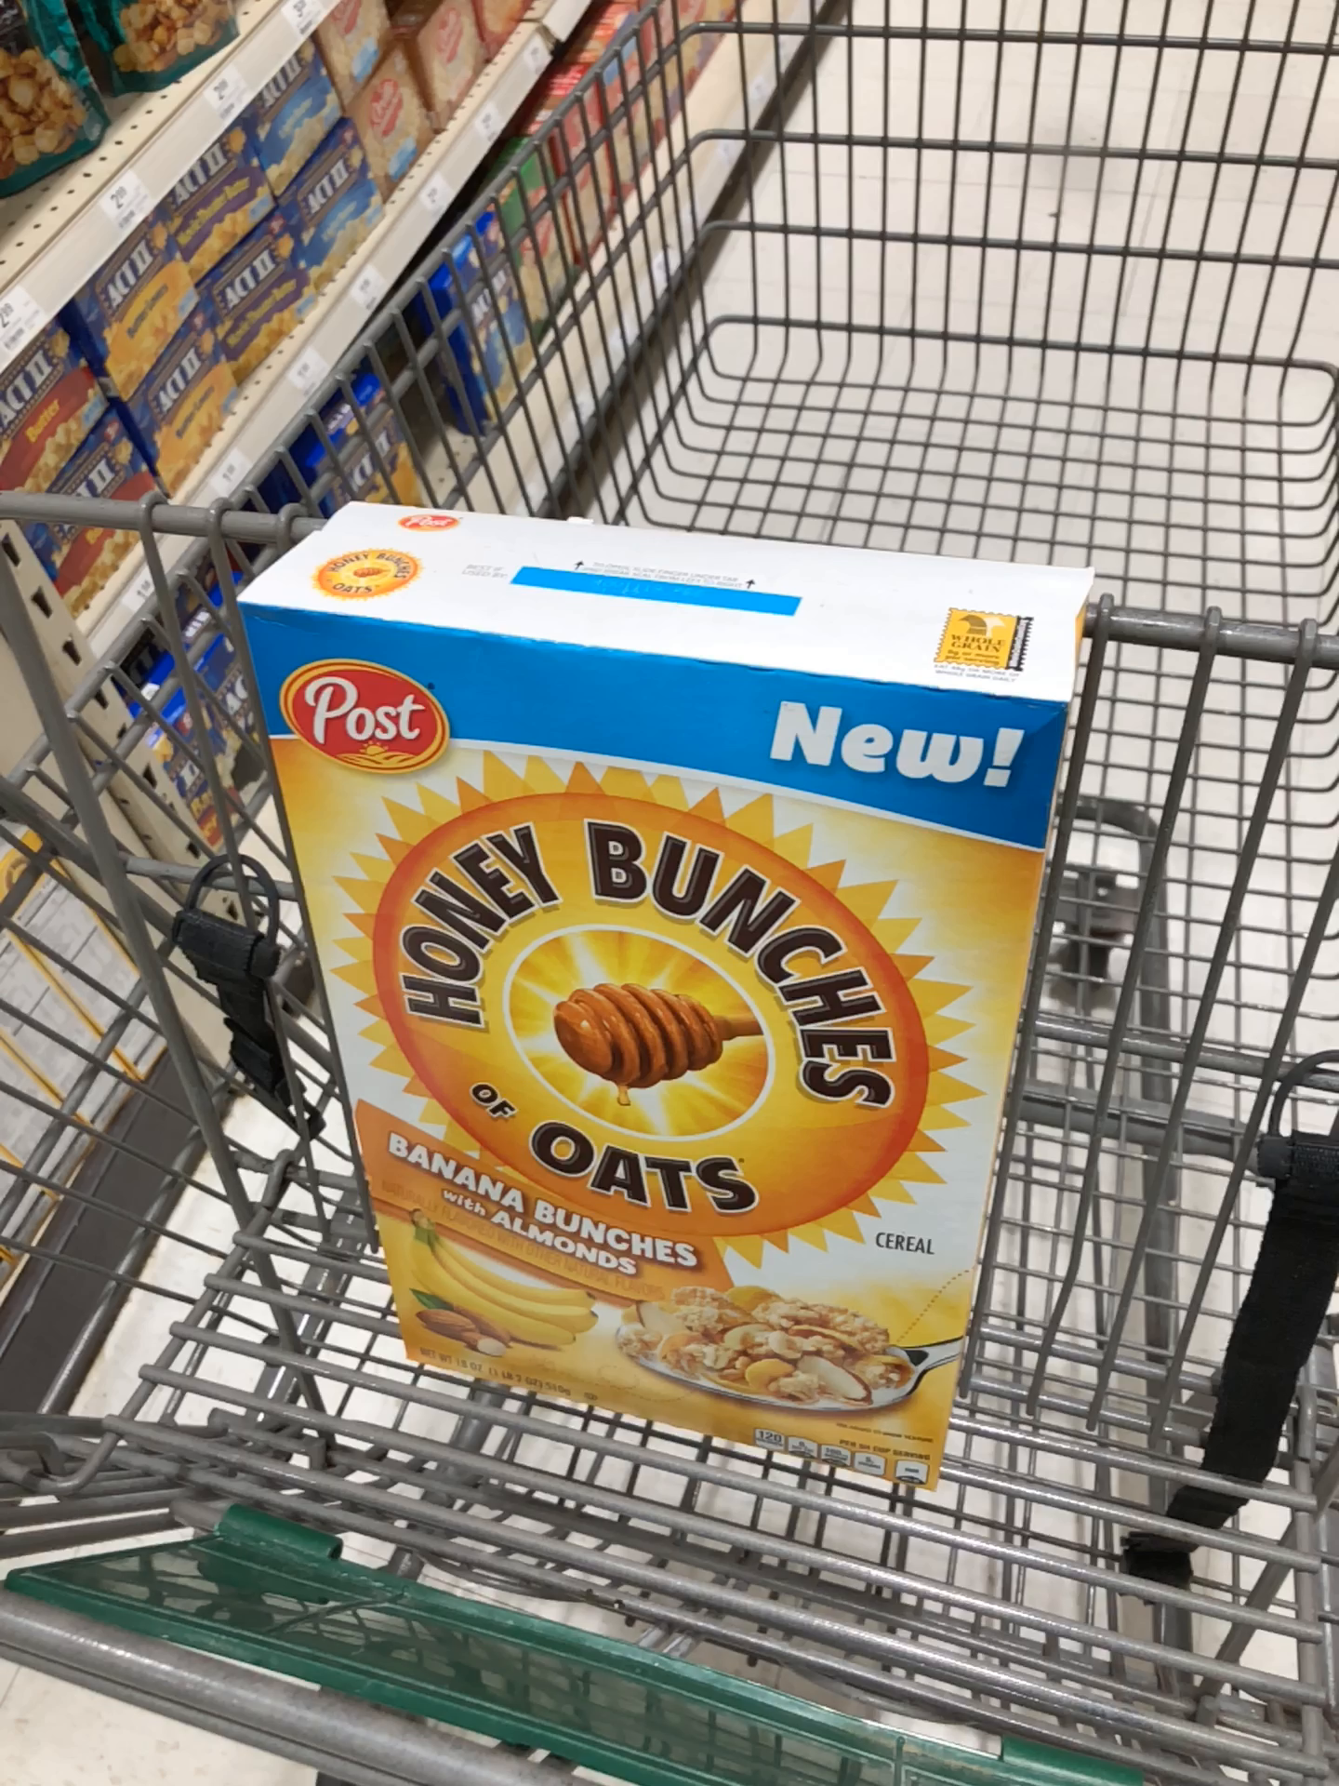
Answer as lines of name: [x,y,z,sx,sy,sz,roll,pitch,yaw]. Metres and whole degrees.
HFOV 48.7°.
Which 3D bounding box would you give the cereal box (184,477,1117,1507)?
cereal box: [-0.002,0.046,0.425,0.200,0.300,0.060,9,40,13]
